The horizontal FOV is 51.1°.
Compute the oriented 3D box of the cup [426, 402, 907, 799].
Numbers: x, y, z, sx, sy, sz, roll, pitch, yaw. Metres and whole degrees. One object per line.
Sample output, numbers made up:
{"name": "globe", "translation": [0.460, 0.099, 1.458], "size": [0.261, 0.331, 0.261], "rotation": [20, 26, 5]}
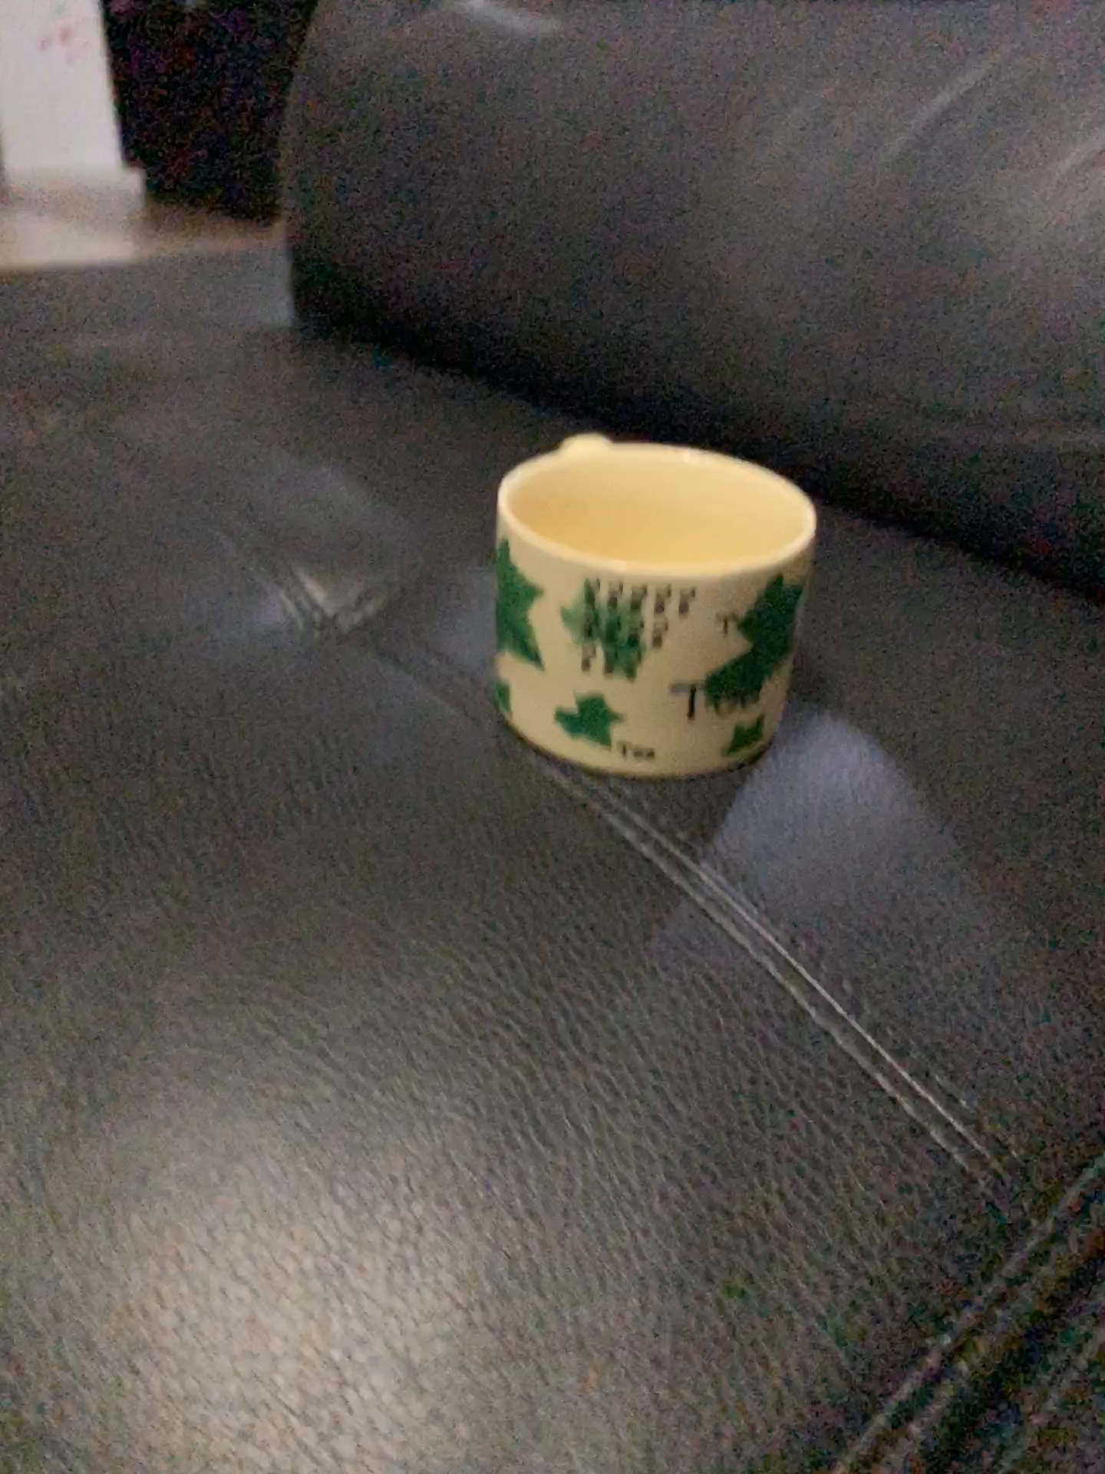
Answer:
{"name": "cup", "translation": [0.021, -0.045, 0.315], "size": [0.090, 0.060, 0.119], "rotation": [-6, 30, -14]}
